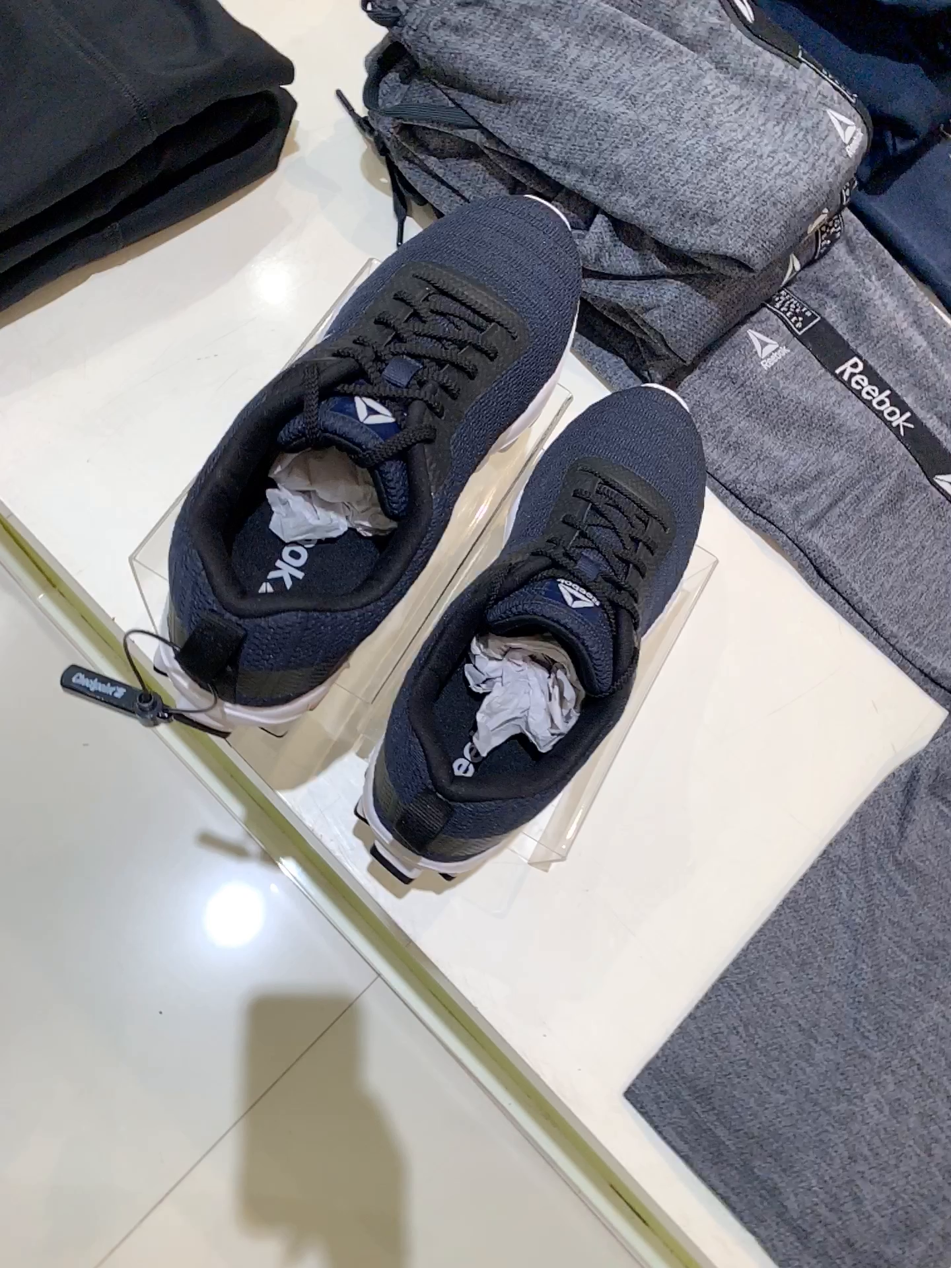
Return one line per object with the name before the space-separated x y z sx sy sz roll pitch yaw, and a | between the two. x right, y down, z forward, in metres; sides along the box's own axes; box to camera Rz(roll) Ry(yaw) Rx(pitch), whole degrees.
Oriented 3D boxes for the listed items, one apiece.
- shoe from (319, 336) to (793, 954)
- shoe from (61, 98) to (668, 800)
shoe | 0.051 -0.012 0.463 0.100 0.080 0.291 32 54 -1
shoe | -0.036 -0.085 0.427 0.120 0.080 0.281 29 69 -2
